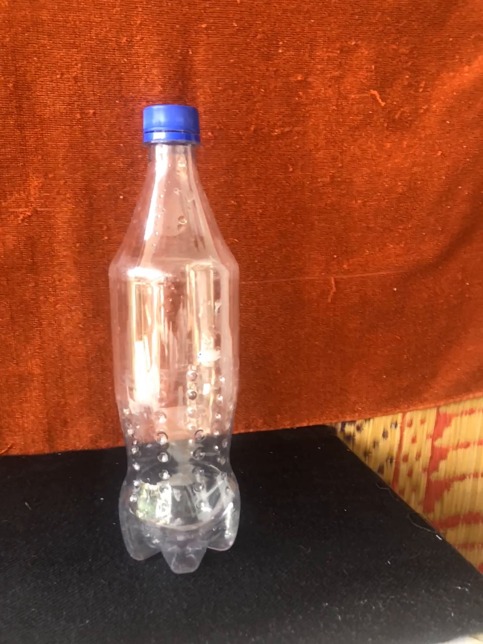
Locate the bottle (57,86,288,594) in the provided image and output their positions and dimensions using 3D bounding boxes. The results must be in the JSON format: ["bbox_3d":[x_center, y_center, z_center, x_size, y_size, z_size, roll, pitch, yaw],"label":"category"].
[{"bbox_3d":[-0.032,0.009,0.303,0.090,0.249,0.080,6,15,19],"label":"bottle"}]
